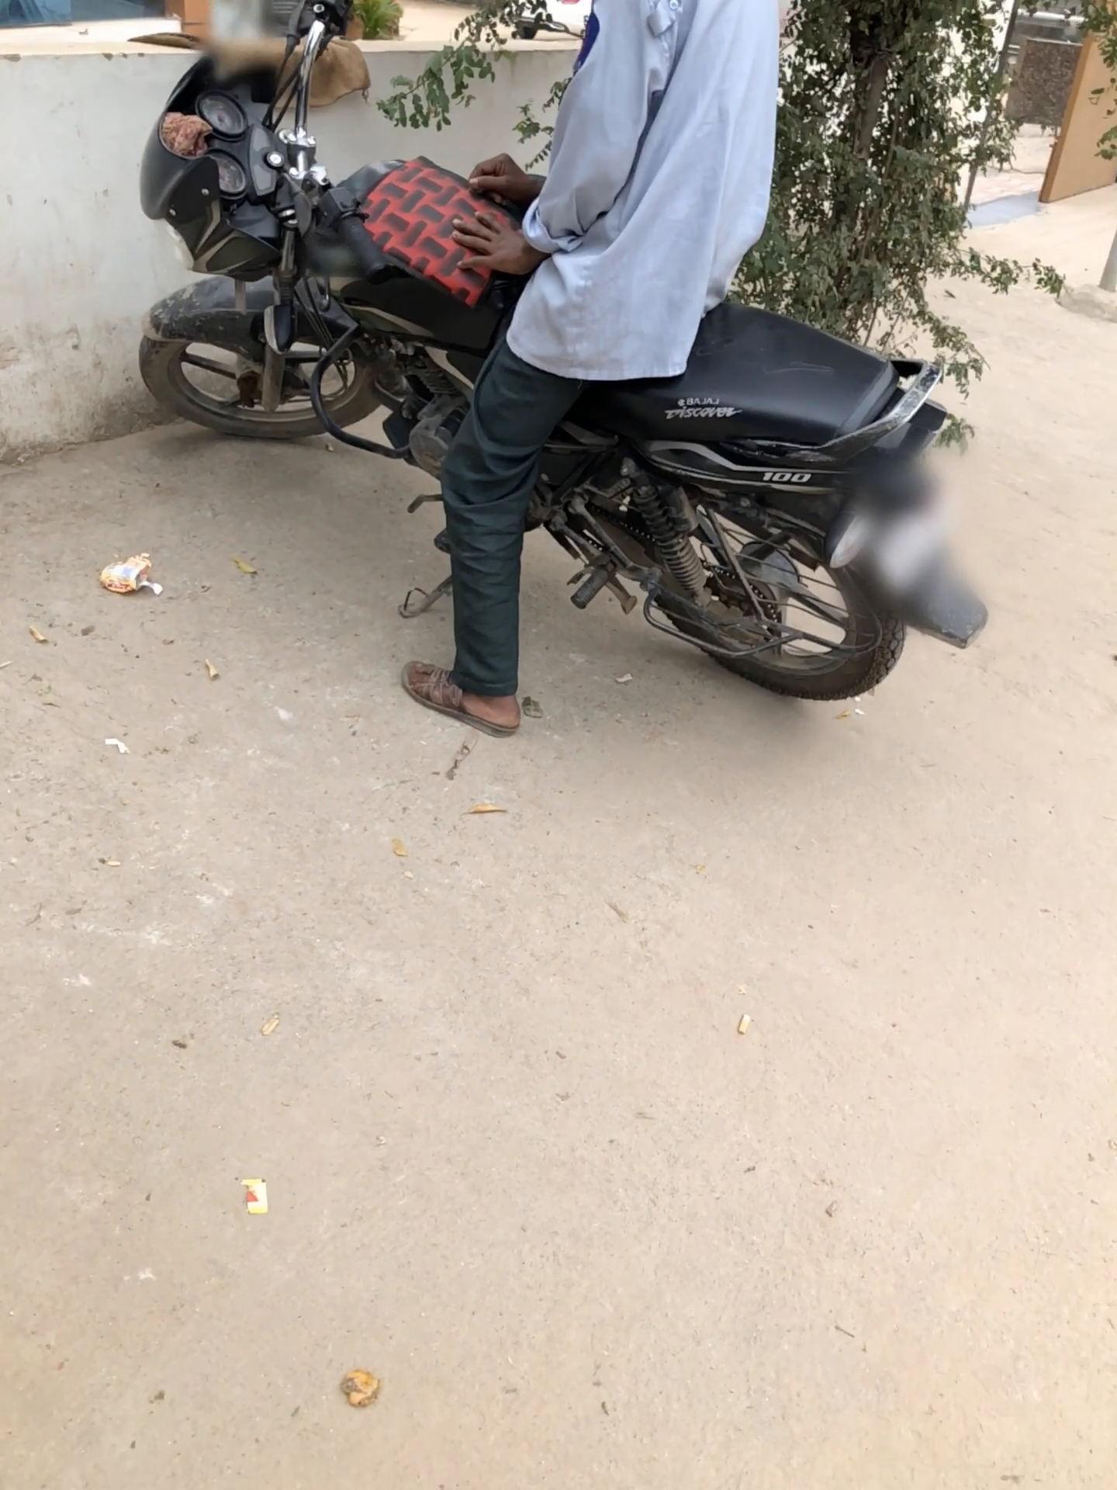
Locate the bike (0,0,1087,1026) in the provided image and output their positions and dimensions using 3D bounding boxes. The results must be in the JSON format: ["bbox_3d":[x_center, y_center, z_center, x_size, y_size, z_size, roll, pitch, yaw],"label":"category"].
[{"bbox_3d":[-0.082,-0.589,2.159,1.497,1.332,0.791,24,37,22],"label":"bike"}]
